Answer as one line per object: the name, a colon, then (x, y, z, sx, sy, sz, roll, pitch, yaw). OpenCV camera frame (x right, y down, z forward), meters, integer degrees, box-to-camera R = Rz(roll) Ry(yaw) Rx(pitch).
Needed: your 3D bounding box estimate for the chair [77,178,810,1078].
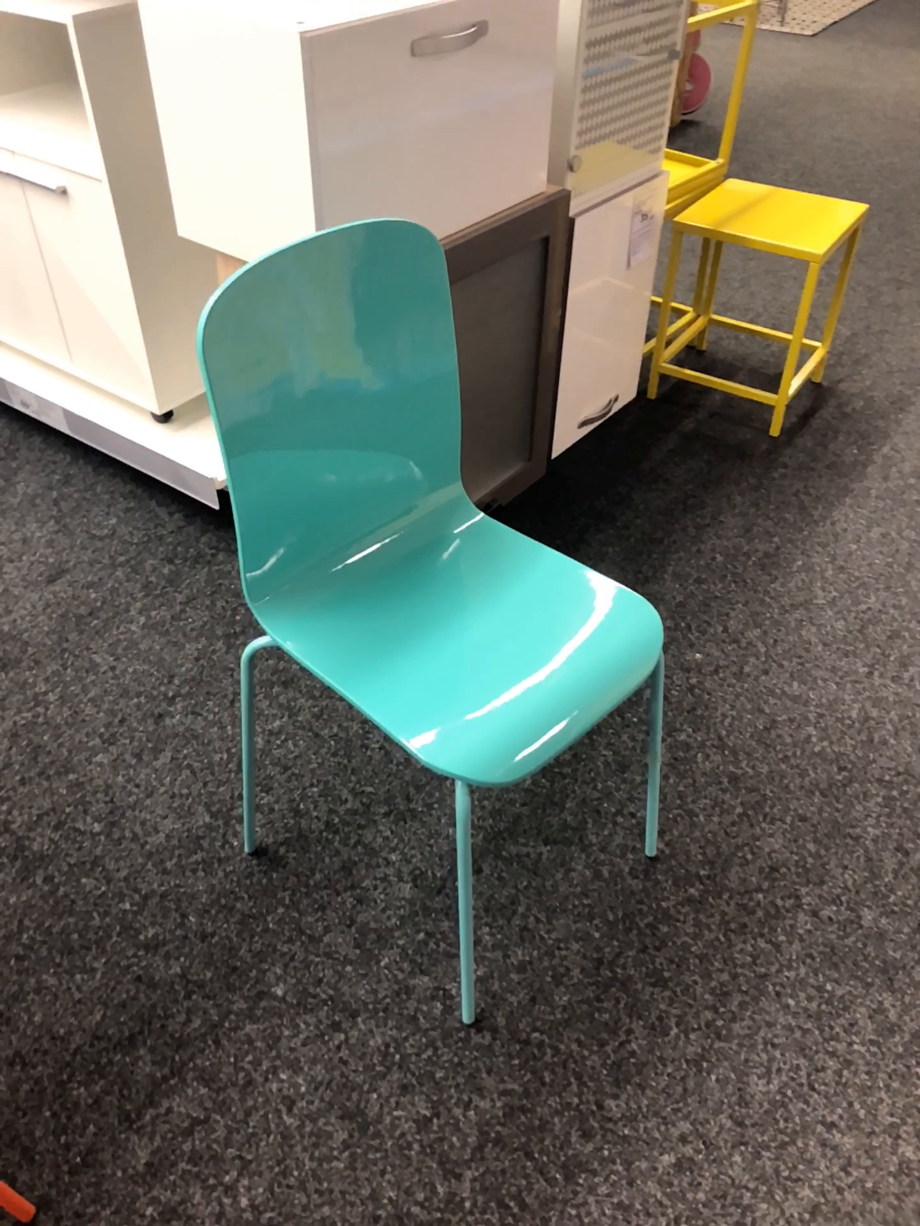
chair: (-0.019, 0.027, 1.239, 0.493, 0.865, 0.500, -33, 51, -32)
